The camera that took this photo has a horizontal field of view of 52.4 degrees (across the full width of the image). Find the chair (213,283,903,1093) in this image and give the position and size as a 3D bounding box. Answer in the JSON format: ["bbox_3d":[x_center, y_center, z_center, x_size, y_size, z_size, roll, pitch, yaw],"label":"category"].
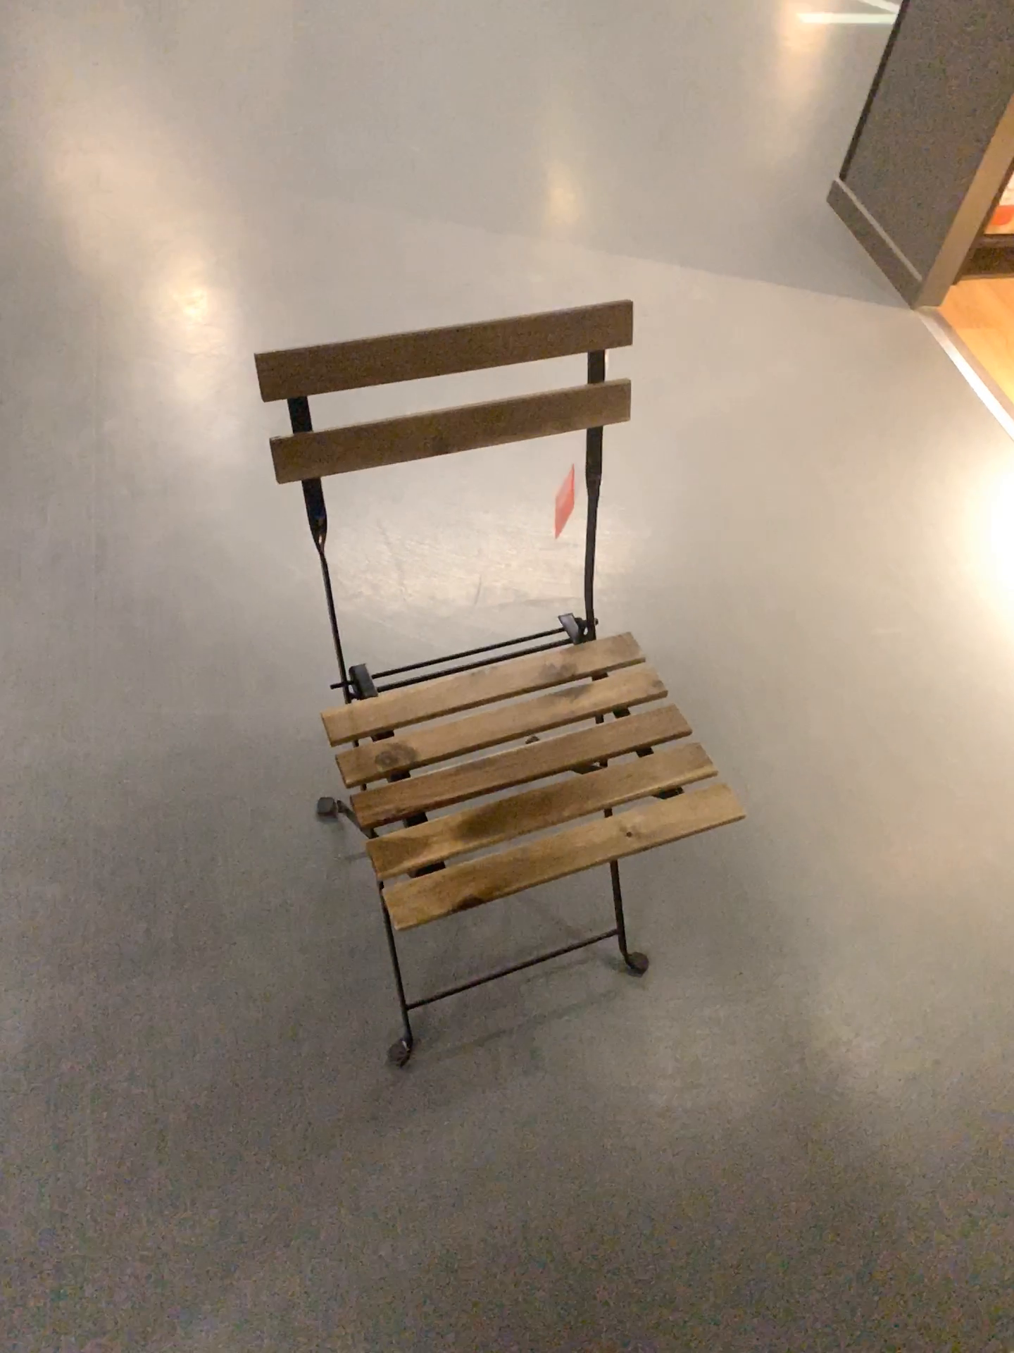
[{"bbox_3d":[-0.014,0.041,1.154,0.430,0.698,0.501,-15,55,-18],"label":"chair"}]
